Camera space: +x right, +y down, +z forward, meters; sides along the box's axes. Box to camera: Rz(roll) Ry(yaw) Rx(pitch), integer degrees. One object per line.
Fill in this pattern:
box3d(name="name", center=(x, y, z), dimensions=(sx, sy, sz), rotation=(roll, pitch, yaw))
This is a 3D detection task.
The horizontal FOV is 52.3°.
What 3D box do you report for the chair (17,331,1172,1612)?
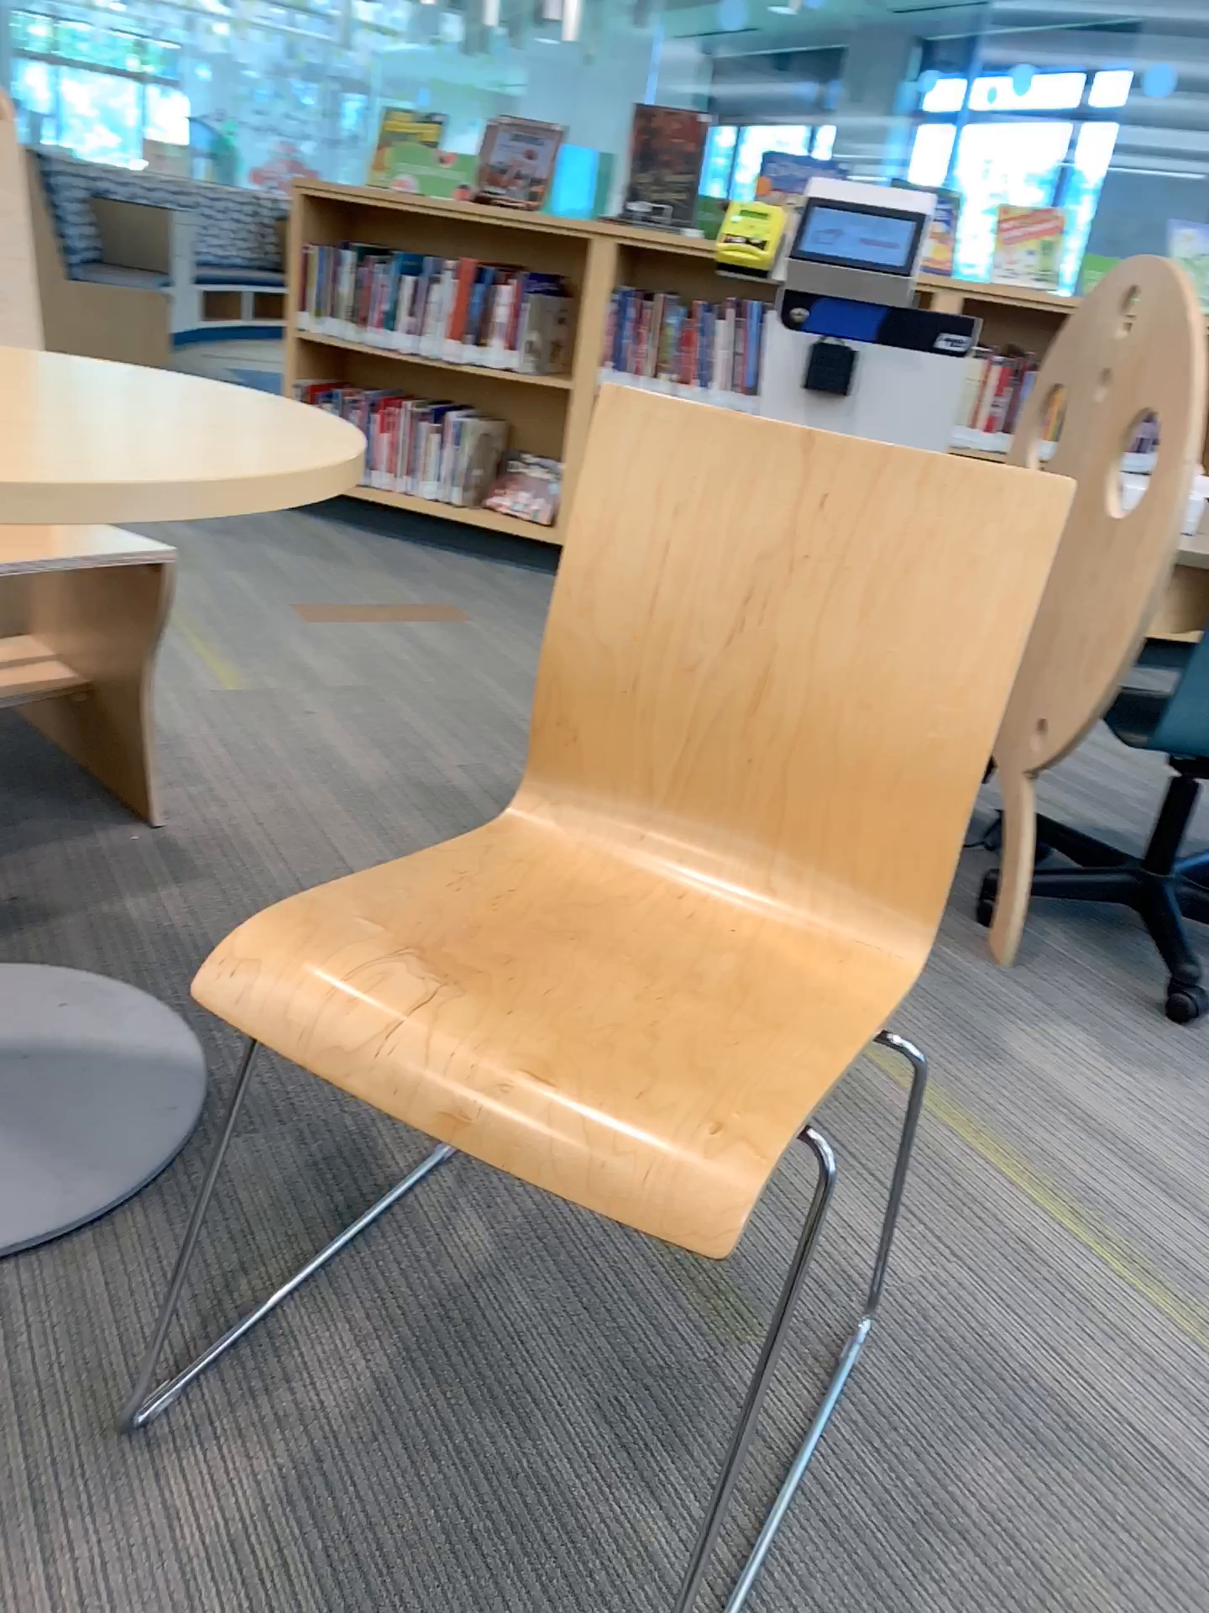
box3d(name="chair", center=(0.011, 0.105, 0.977), dimensions=(0.560, 0.806, 0.622), rotation=(18, 24, 21))
